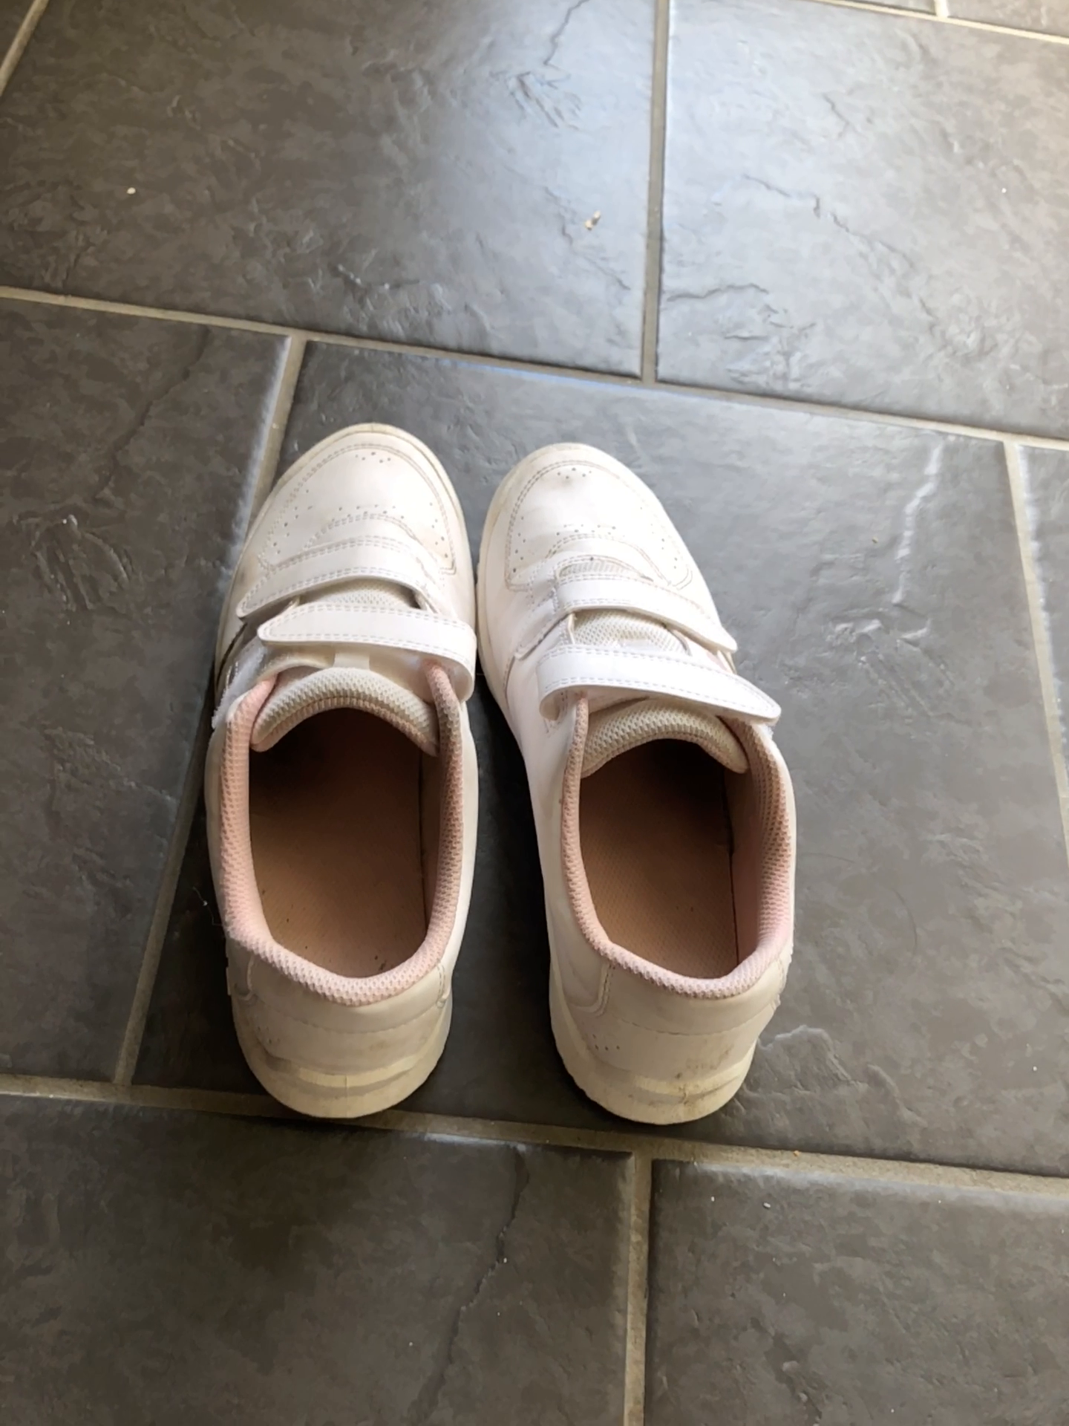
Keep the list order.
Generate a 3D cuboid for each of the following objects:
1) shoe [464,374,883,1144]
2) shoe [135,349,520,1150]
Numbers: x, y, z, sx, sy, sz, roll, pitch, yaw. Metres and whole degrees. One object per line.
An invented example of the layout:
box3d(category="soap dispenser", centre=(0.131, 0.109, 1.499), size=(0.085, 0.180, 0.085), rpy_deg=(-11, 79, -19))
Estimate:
box3d(category="shoe", centre=(0.032, 0.008, 0.414), size=(0.095, 0.090, 0.251), rpy_deg=(-1, 61, -8))
box3d(category="shoe", centre=(-0.060, 0.006, 0.397), size=(0.095, 0.090, 0.251), rpy_deg=(2, 61, -7))
